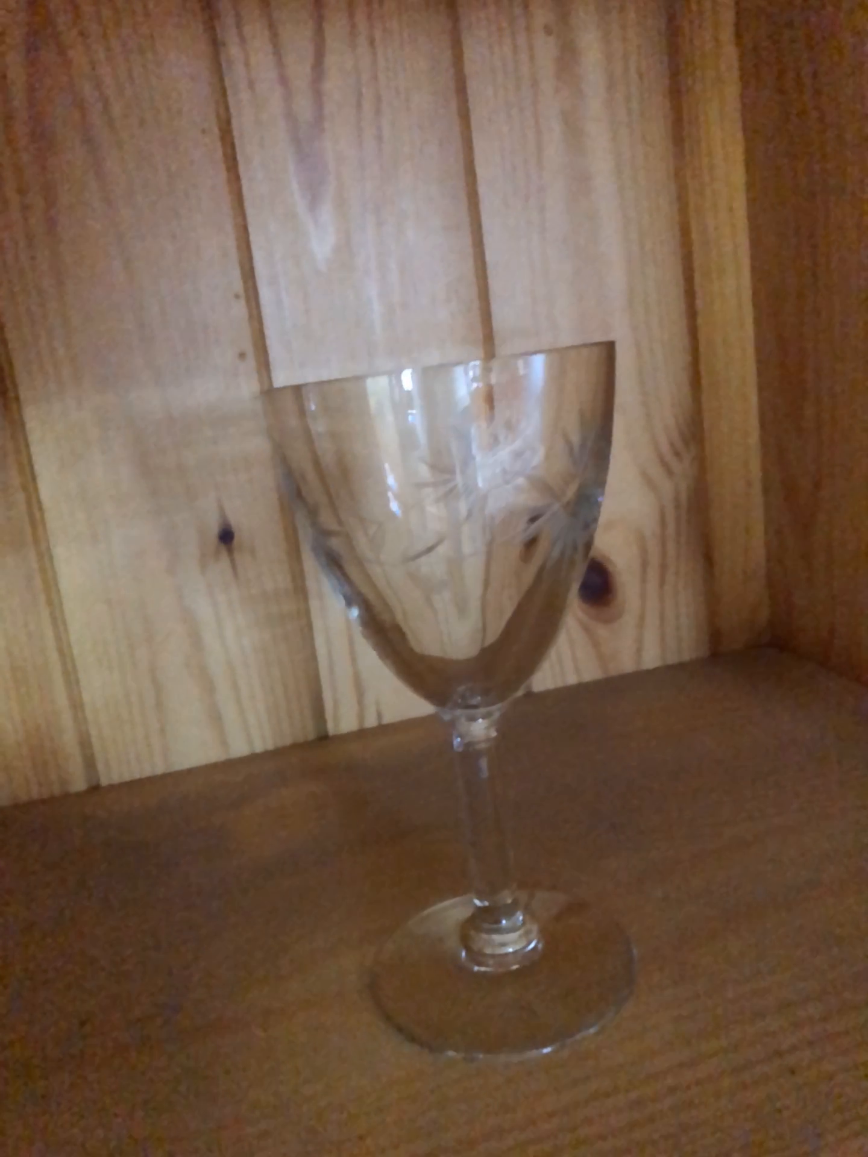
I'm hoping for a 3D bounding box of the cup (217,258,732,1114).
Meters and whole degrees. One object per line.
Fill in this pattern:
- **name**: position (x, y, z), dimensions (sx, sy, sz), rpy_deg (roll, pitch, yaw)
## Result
- **cup**: position (0.009, 0.016, 0.193), dimensions (0.070, 0.140, 0.070), rpy_deg (-7, 12, 2)
